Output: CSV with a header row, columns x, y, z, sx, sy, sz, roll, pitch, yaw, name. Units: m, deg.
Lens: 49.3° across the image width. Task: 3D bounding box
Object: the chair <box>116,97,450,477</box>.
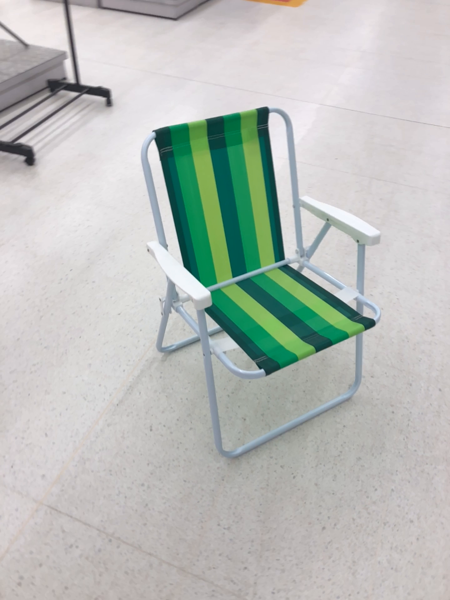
x,y,z,sx,sy,sz,roll,pitch,yaw,name
0.089,-0.045,1.292,0.511,0.715,0.523,-20,47,-23,chair
